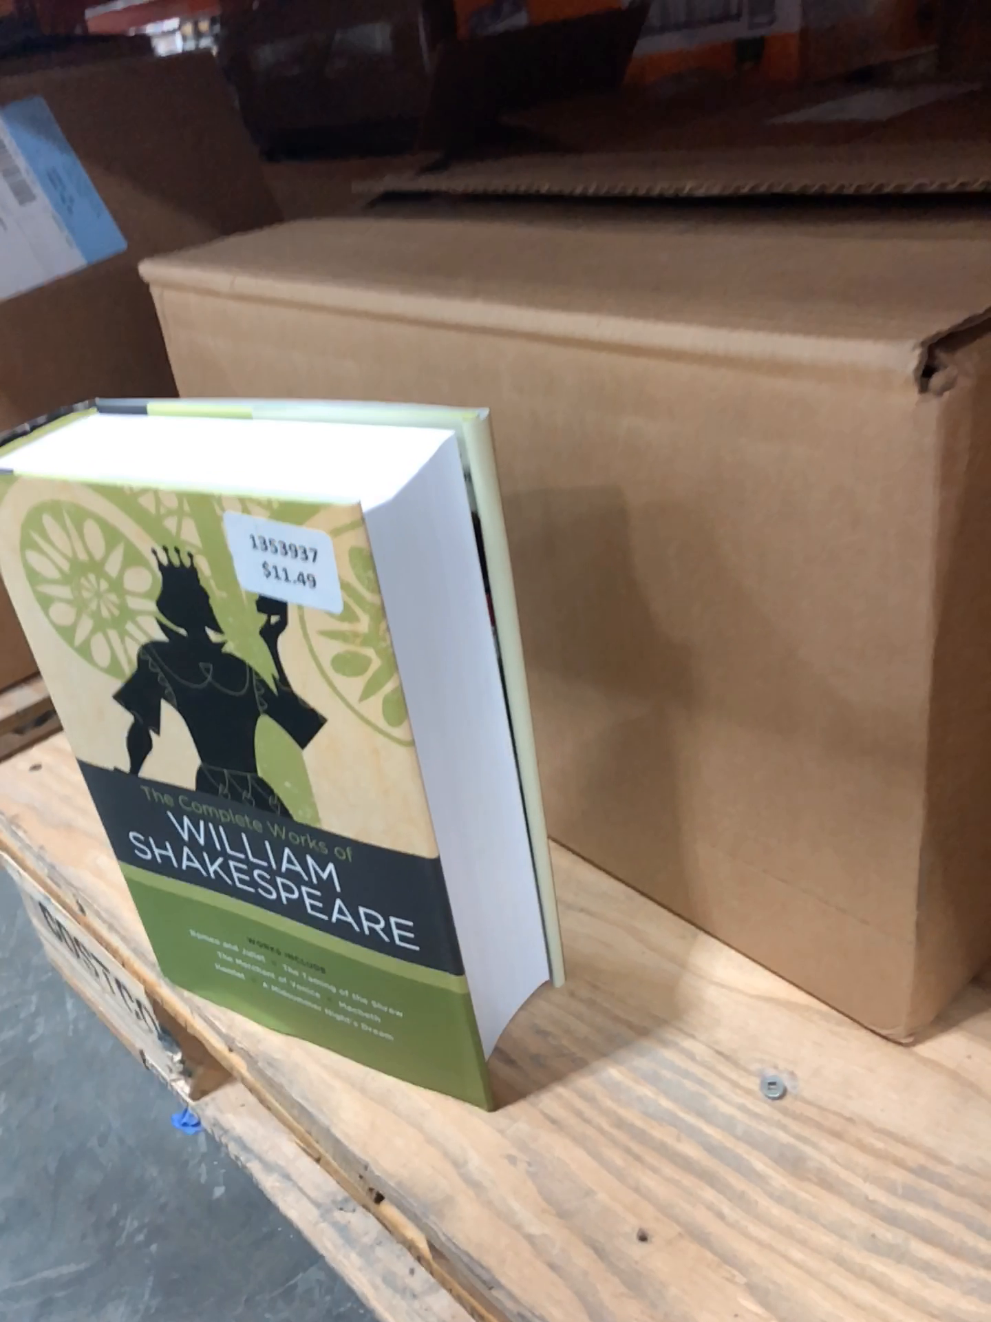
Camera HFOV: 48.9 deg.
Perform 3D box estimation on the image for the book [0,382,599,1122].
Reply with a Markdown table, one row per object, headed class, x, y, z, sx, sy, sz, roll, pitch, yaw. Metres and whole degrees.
| class | x | y | z | sx | sy | sz | roll | pitch | yaw |
| --- | --- | --- | --- | --- | --- | --- | --- | --- | --- |
| book | -0.073 | 0.029 | 0.402 | 0.181 | 0.239 | 0.080 | 10 | 36 | 30 |
